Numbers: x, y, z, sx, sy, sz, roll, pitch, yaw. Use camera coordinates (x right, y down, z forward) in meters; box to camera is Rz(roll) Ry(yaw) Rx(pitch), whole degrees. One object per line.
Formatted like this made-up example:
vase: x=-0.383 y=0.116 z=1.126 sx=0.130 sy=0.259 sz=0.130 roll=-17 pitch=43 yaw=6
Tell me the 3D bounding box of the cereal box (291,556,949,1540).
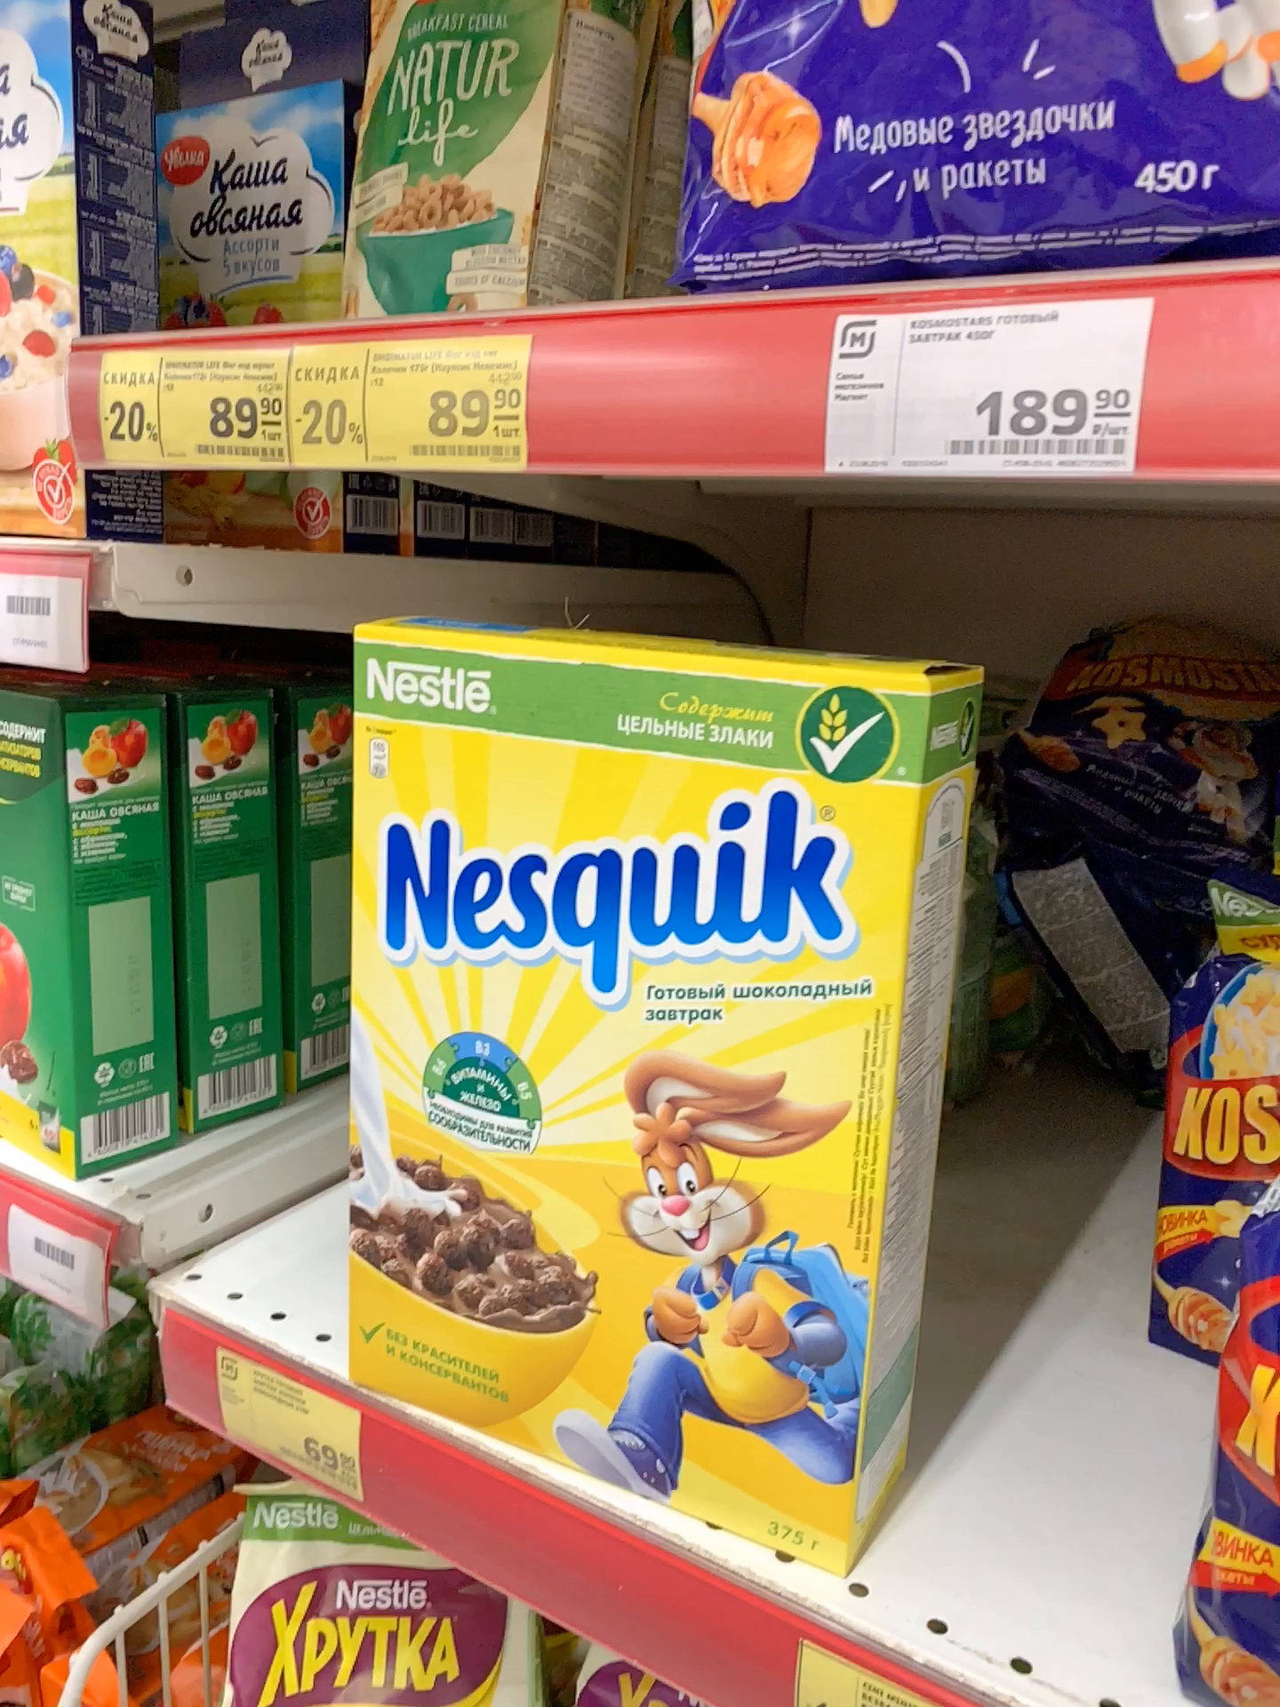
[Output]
cereal box: x=-0.015 y=0.047 z=0.419 sx=0.190 sy=0.269 sz=0.060 roll=8 pitch=13 yaw=27
